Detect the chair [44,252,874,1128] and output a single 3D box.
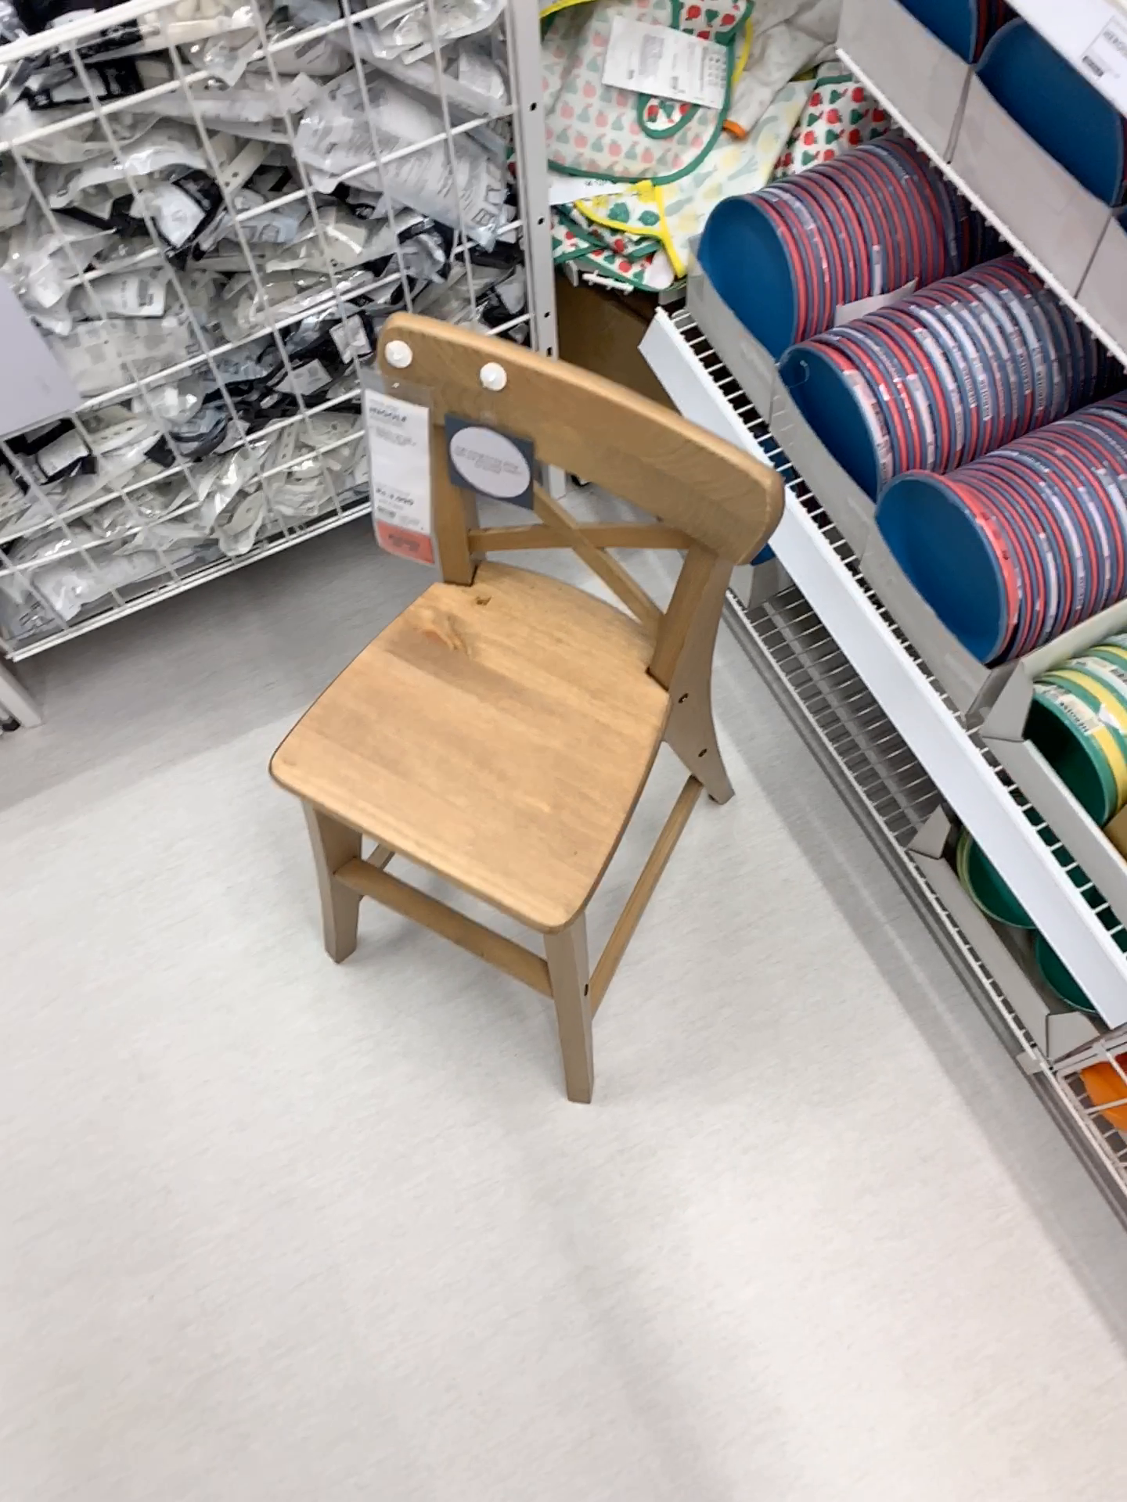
[{"bbox_3d":[-0.045,0.017,1.083,0.380,0.689,0.460,25,70,13],"label":"chair"}]
